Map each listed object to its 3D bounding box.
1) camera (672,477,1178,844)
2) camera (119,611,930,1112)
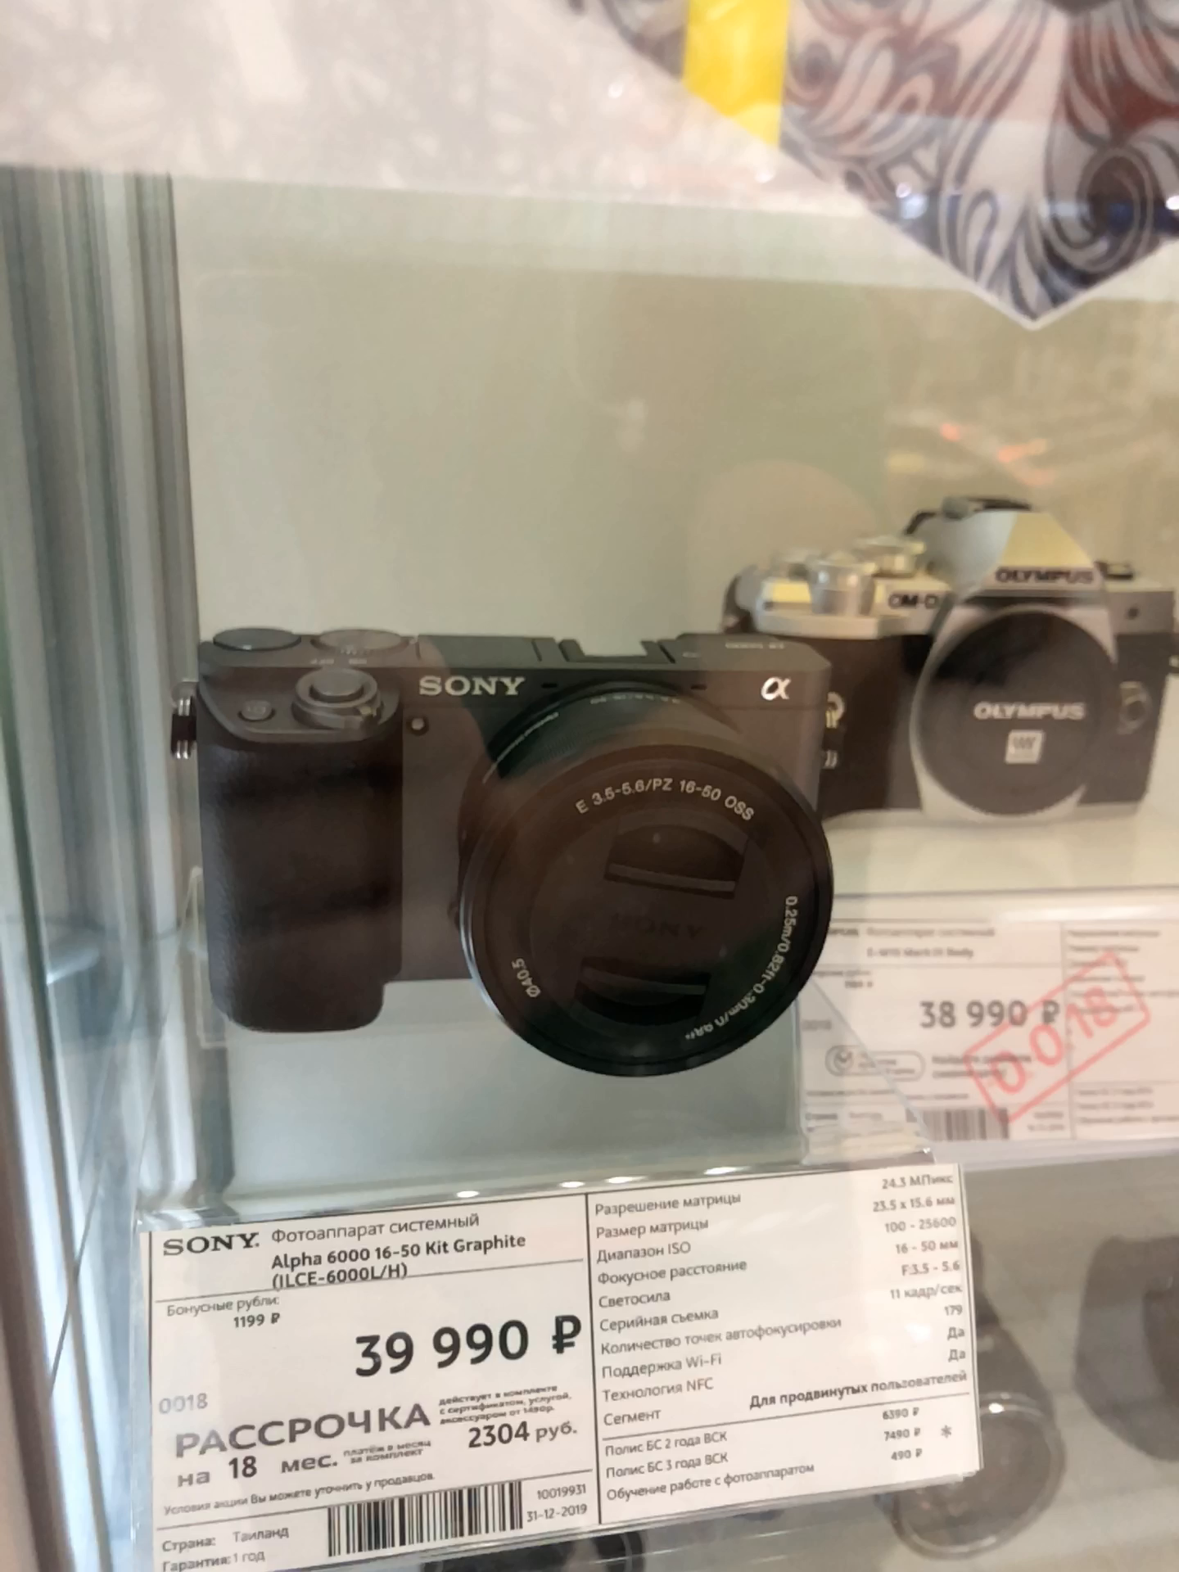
[{"bbox_3d":[0.095,-0.040,0.375,0.122,0.081,0.088,-2,20,-10],"label":"camera"},{"bbox_3d":[-0.014,0.009,0.253,0.130,0.070,0.066,-2,20,-10],"label":"camera"}]
